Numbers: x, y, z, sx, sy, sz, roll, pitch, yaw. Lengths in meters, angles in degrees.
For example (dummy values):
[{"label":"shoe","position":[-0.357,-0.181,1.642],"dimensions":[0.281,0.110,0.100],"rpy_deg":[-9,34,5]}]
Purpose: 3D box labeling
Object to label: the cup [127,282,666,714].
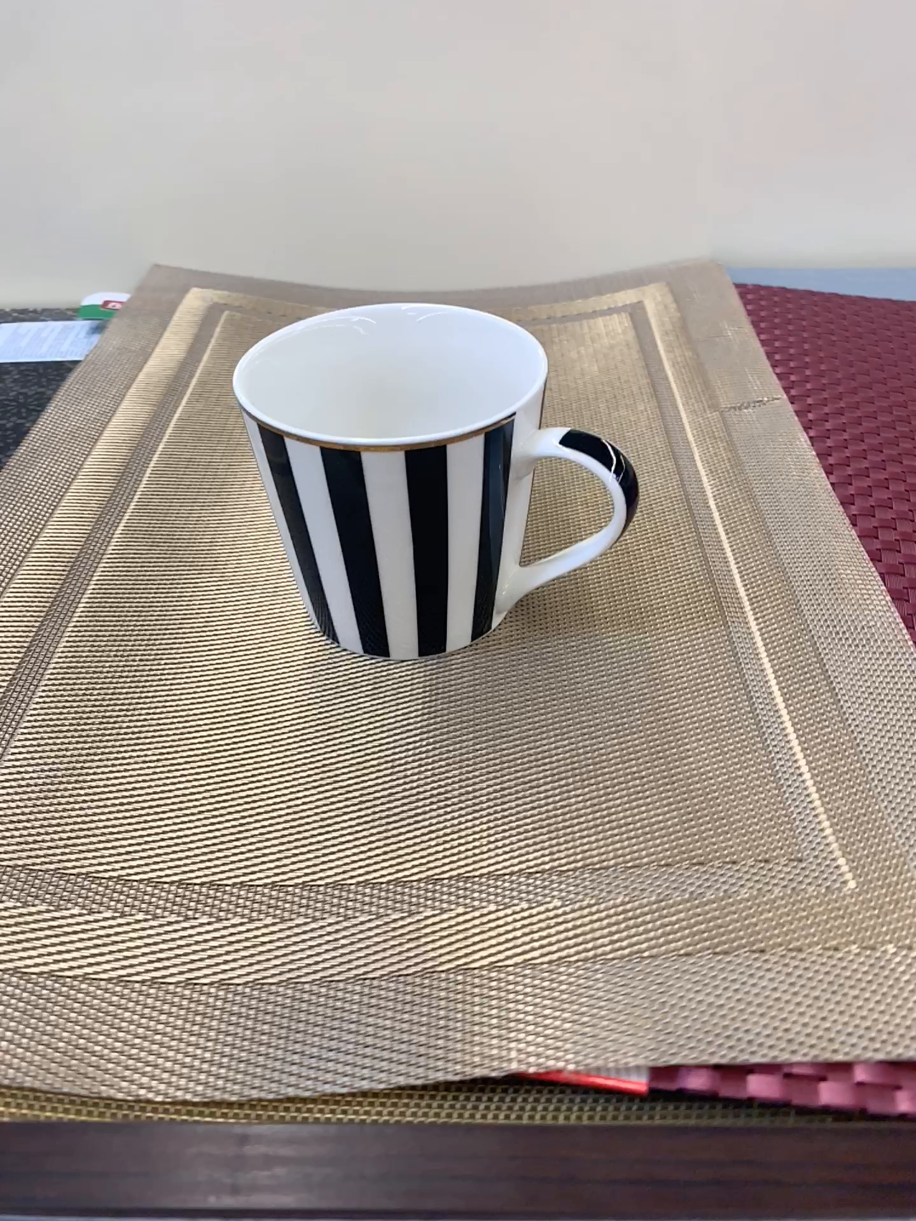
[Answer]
[{"label":"cup","position":[-0.014,-0.045,0.309],"dimensions":[0.130,0.080,0.100],"rpy_deg":[15,39,23]}]
